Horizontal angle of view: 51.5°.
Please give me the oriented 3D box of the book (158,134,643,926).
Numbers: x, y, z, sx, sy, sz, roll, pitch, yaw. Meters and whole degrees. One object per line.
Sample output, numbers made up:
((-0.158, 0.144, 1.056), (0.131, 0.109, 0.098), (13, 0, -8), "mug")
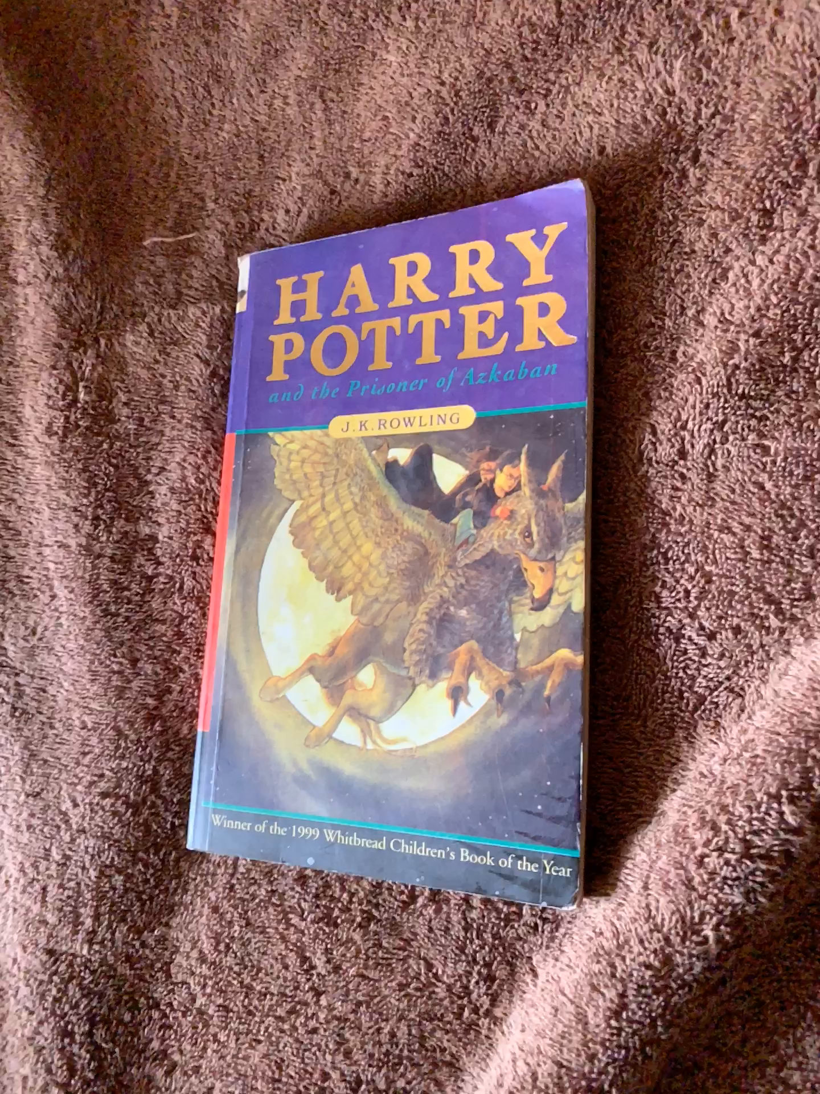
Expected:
((-0.007, -0.005, 0.229), (0.130, 0.020, 0.180), (-2, 84, 25), "book")
